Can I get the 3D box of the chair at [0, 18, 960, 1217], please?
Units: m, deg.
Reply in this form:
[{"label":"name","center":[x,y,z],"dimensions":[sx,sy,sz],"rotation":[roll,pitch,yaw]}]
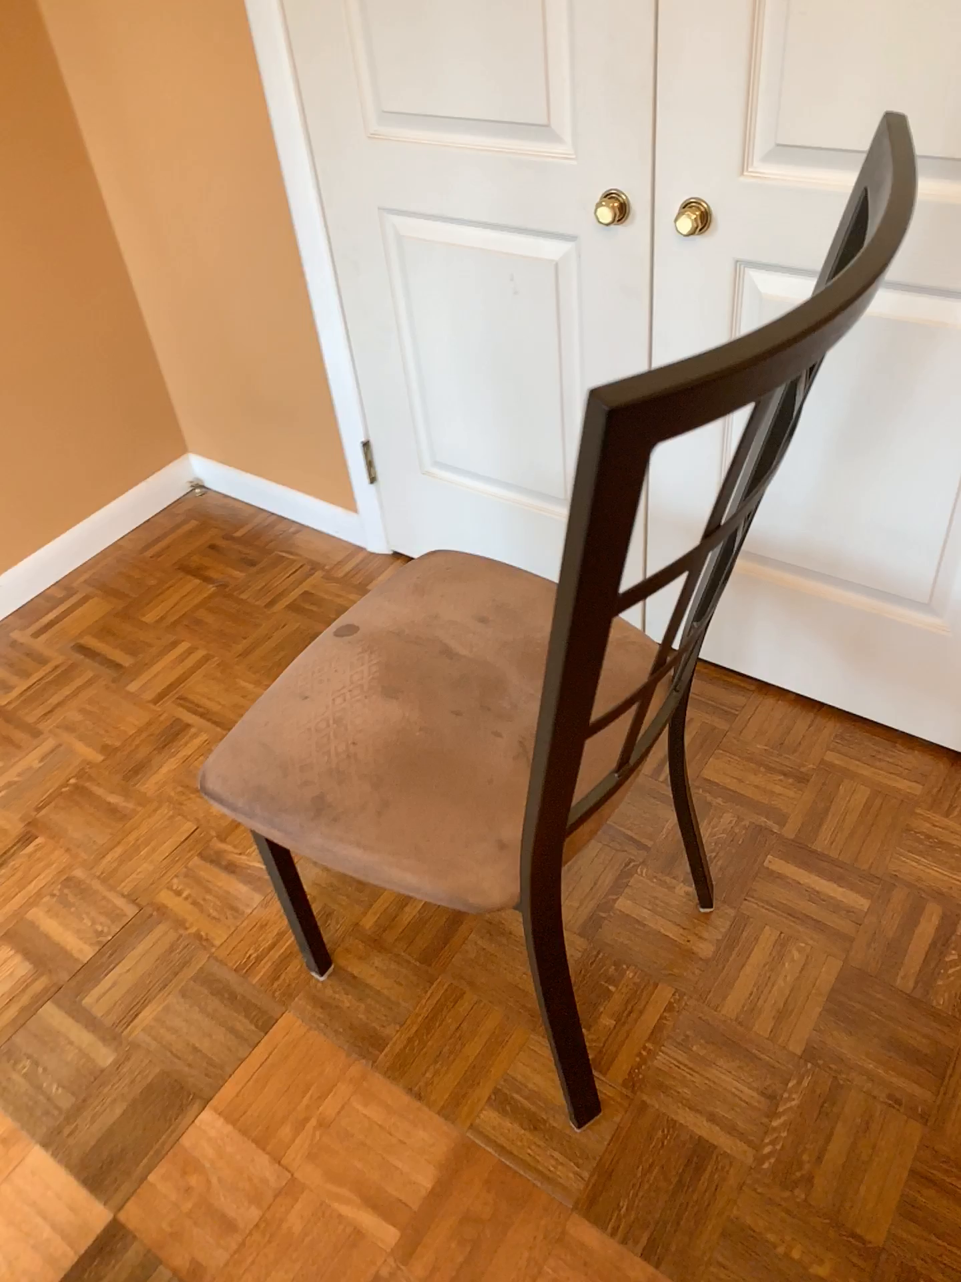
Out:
[{"label":"chair","center":[0.004,0.007,1.009],"dimensions":[0.622,0.984,0.512],"rotation":[23,50,26]}]
